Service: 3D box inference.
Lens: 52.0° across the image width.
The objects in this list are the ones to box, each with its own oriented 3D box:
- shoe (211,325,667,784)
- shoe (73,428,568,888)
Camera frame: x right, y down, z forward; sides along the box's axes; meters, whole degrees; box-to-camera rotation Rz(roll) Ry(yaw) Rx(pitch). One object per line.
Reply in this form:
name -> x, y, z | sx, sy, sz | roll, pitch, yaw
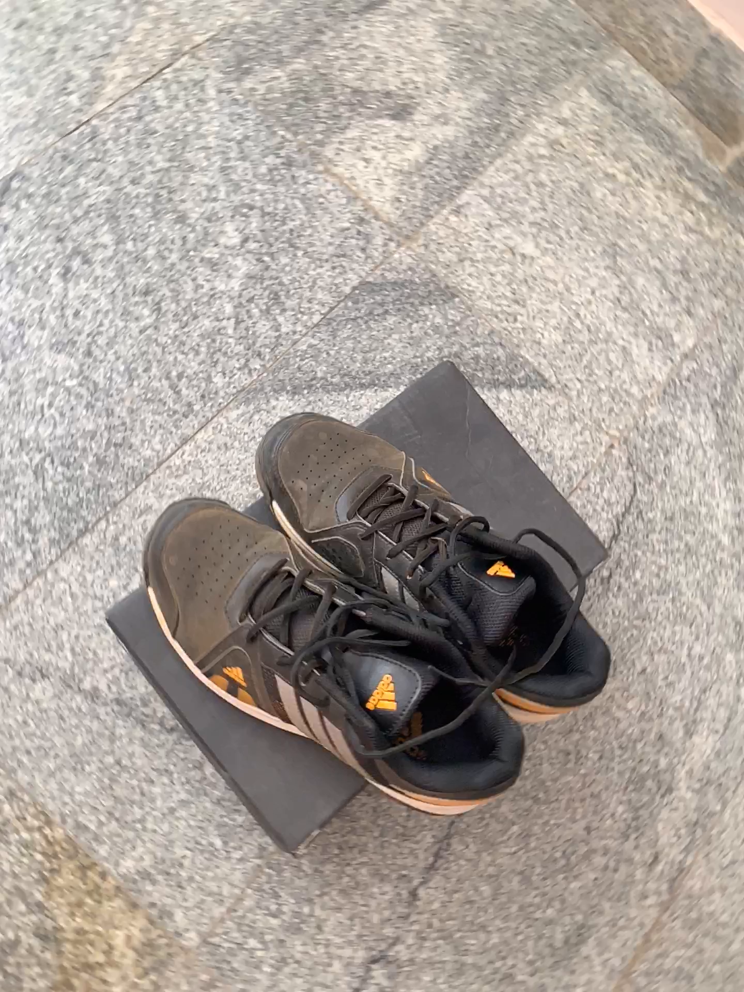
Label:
shoe -> 0.036, 0.040, 0.508 | 0.290, 0.090, 0.110 | 44, 72, 1
shoe -> -0.035, 0.105, 0.499 | 0.300, 0.090, 0.110 | 39, 64, -1
